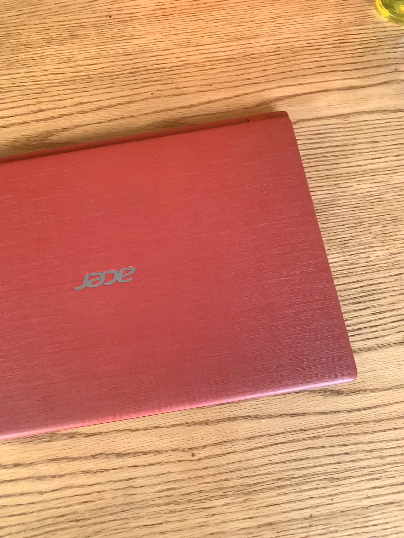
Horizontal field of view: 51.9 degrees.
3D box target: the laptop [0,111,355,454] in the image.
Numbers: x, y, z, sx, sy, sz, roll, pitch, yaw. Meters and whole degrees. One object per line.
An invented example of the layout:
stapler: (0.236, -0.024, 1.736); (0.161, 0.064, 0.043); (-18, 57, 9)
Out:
laptop: (-0.083, 0.002, 0.350); (0.362, 0.013, 0.236); (-9, 74, 1)
